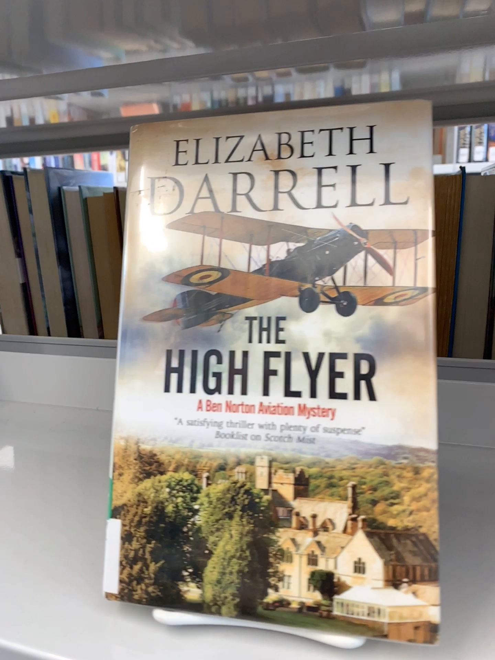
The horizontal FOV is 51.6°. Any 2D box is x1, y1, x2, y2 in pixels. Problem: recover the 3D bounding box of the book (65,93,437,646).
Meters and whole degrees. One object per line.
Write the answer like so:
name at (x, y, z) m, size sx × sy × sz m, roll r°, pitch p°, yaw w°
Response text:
book at (0.002, 0.010, 0.229) m, size 0.151 × 0.215 × 0.031 m, roll 1°, pitch -5°, yaw 11°
